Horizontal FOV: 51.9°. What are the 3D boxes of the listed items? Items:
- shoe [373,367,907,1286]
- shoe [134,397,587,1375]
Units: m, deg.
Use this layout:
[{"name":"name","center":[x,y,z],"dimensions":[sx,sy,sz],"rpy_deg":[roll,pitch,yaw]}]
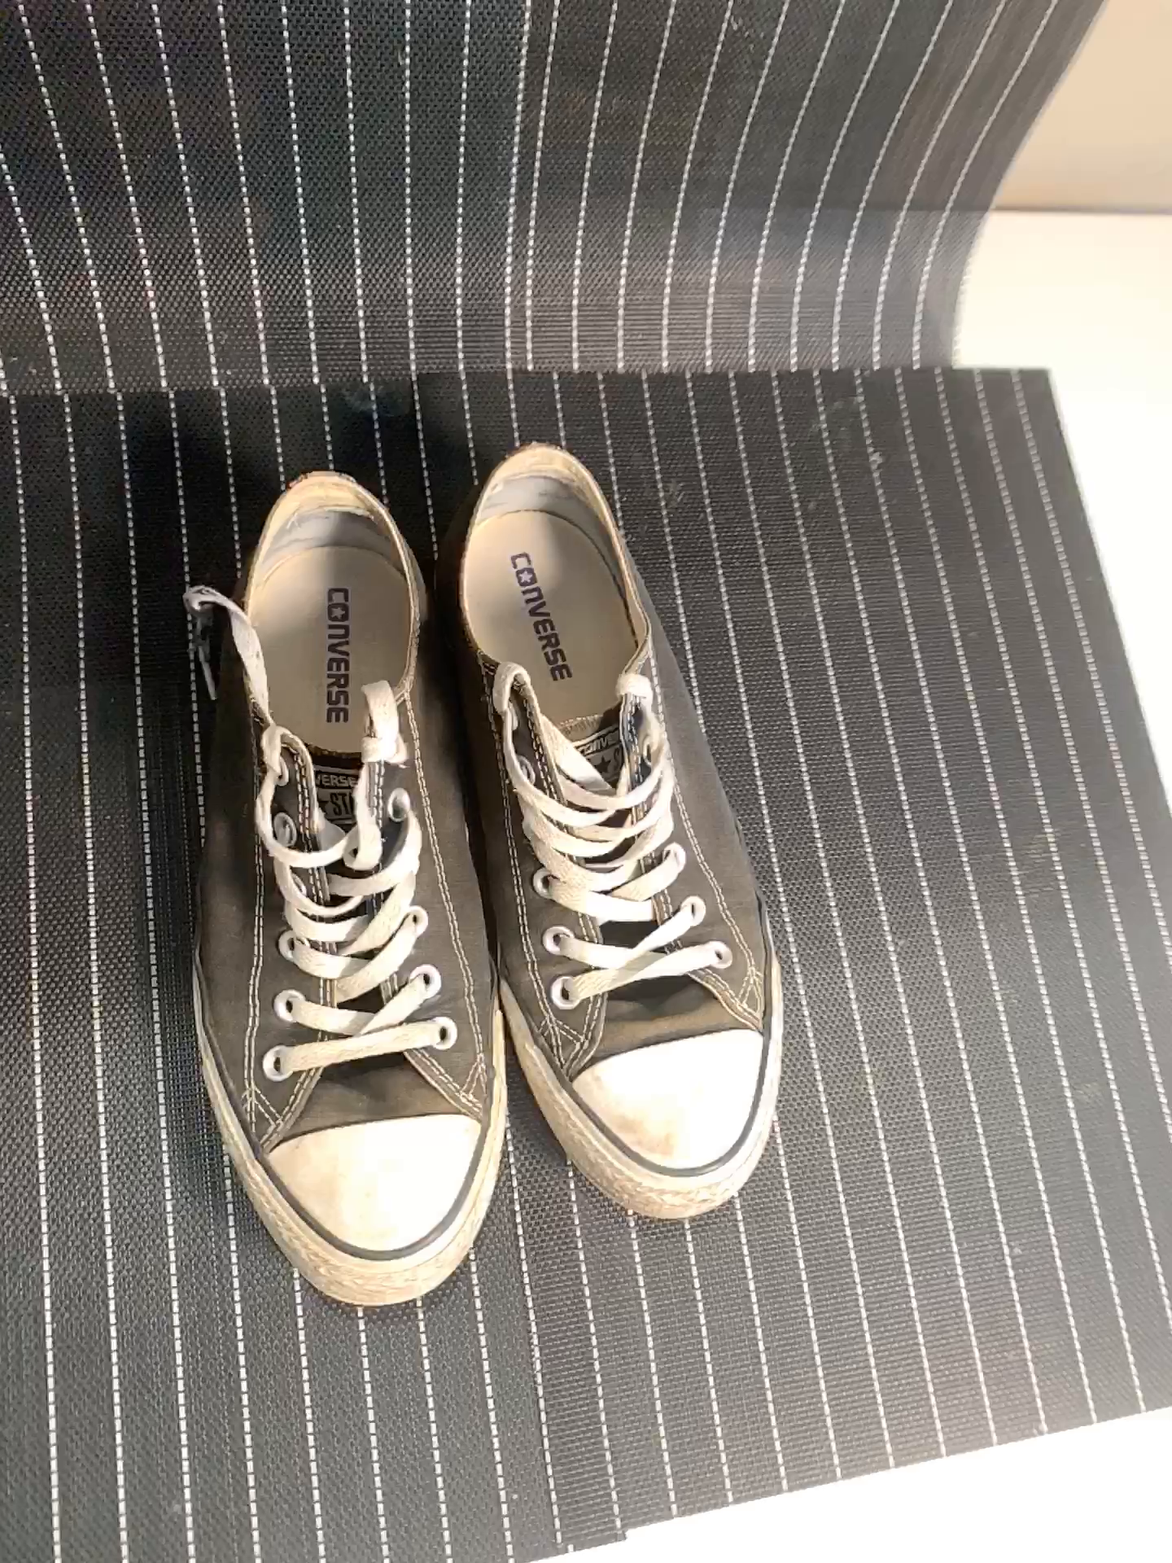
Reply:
[{"name":"shoe","center":[0.006,0.008,0.440],"dimensions":[0.110,0.080,0.300],"rpy_deg":[-11,76,-13]},{"name":"shoe","center":[-0.082,0.024,0.415],"dimensions":[0.110,0.080,0.300],"rpy_deg":[-6,75,-12]}]
